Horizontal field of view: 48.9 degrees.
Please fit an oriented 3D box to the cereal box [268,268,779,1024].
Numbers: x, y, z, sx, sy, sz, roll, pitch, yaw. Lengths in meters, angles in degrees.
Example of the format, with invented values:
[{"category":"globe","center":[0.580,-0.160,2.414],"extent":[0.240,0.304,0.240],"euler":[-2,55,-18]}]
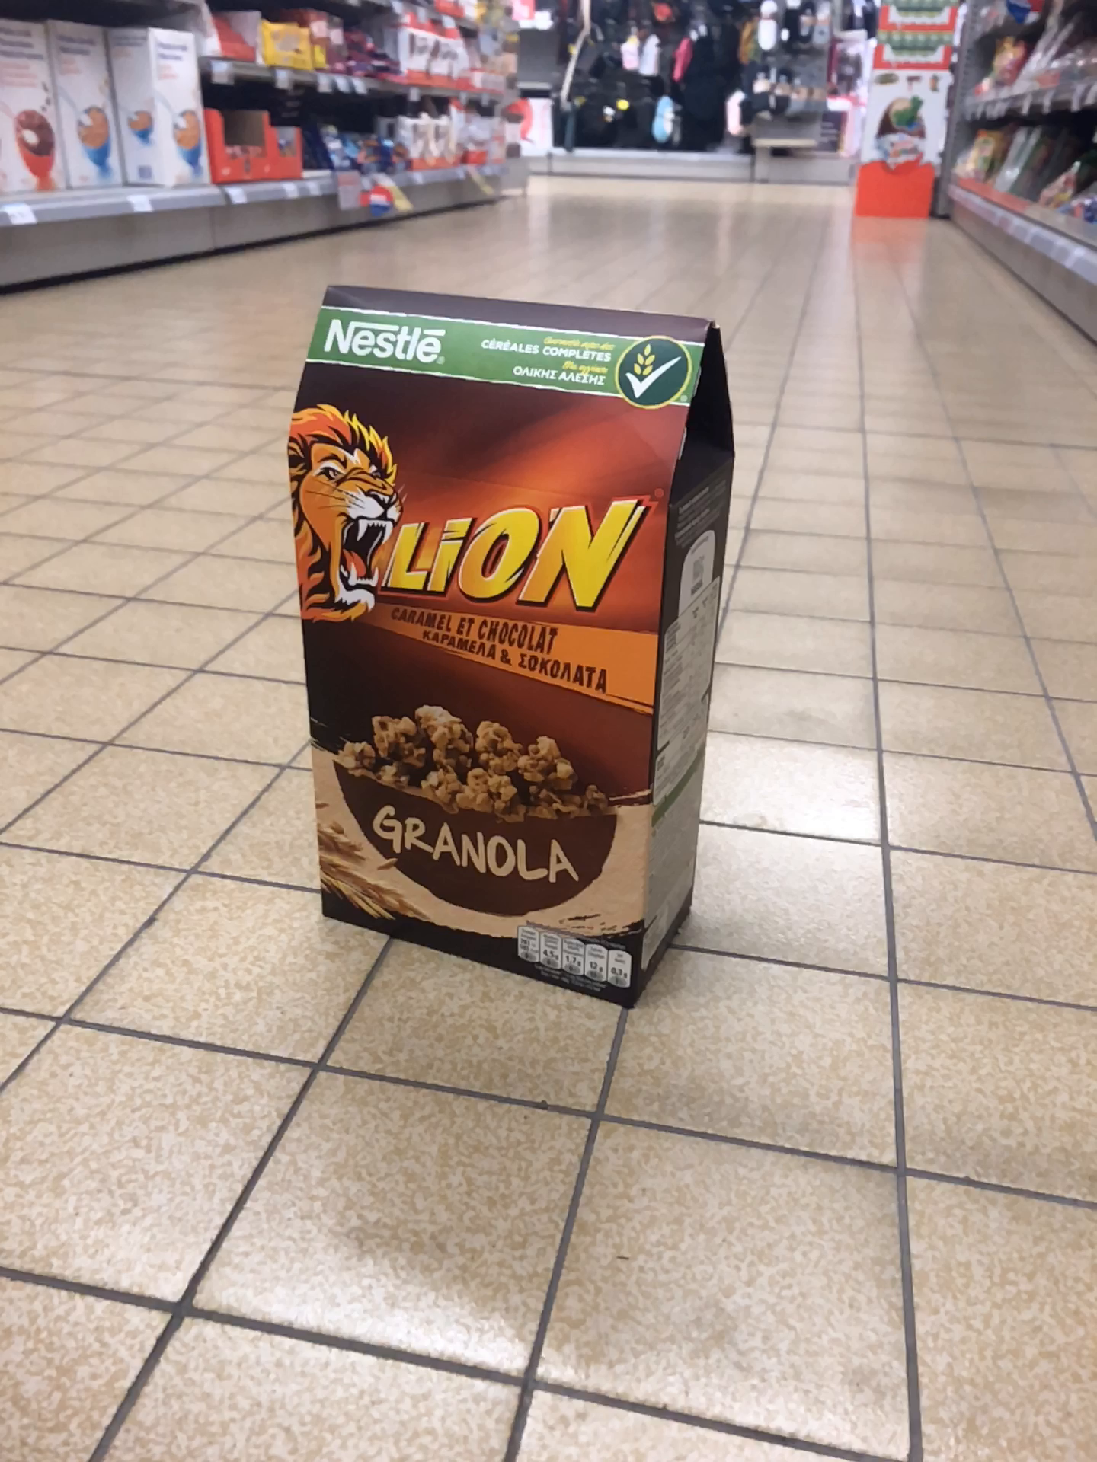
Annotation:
[{"category":"cereal box","center":[-0.010,-0.034,0.455],"extent":[0.150,0.249,0.081],"euler":[12,28,21]}]
